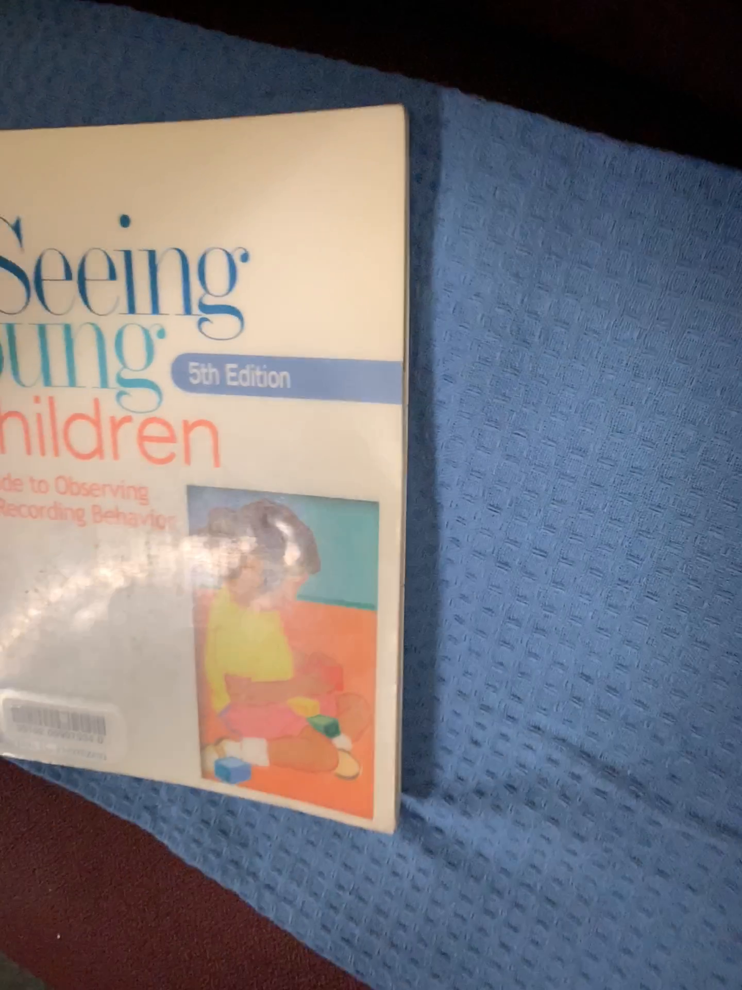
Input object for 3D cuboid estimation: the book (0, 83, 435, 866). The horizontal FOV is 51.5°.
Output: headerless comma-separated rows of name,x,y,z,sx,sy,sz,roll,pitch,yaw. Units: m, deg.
book,-0.080,0.003,0.274,0.200,0.030,0.250,4,108,14
